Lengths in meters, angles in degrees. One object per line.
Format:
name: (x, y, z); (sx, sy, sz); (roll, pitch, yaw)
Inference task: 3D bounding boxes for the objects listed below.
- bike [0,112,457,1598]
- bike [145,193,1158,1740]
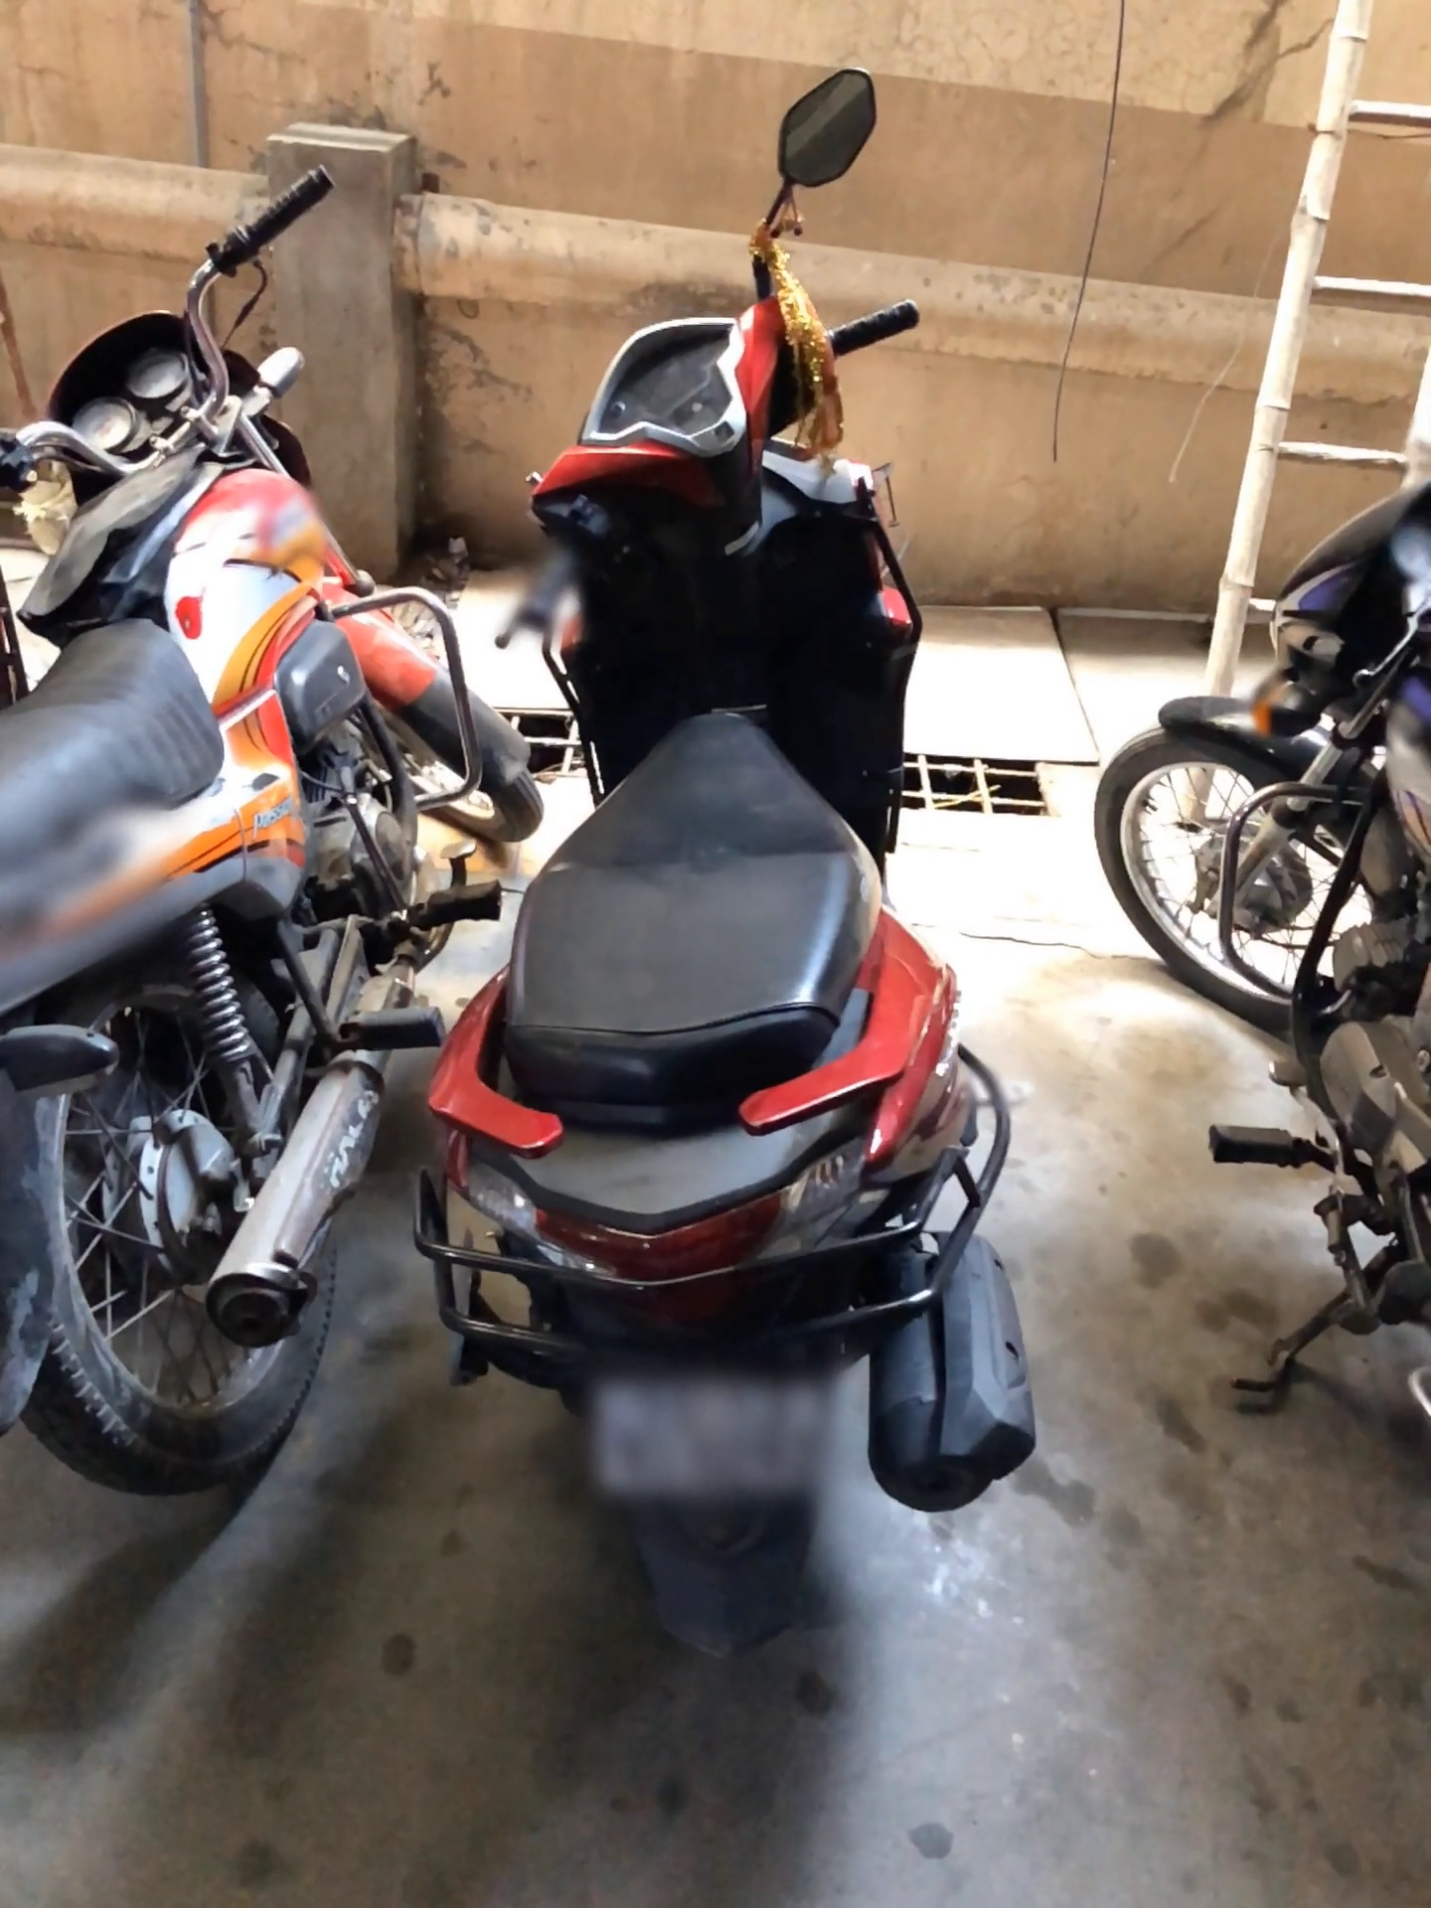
bike: (-0.838, -0.294, 1.949); (0.838, 1.089, 1.658); (5, 34, -4)
bike: (-0.112, -0.104, 1.876); (0.630, 1.139, 1.446); (4, 36, -4)
